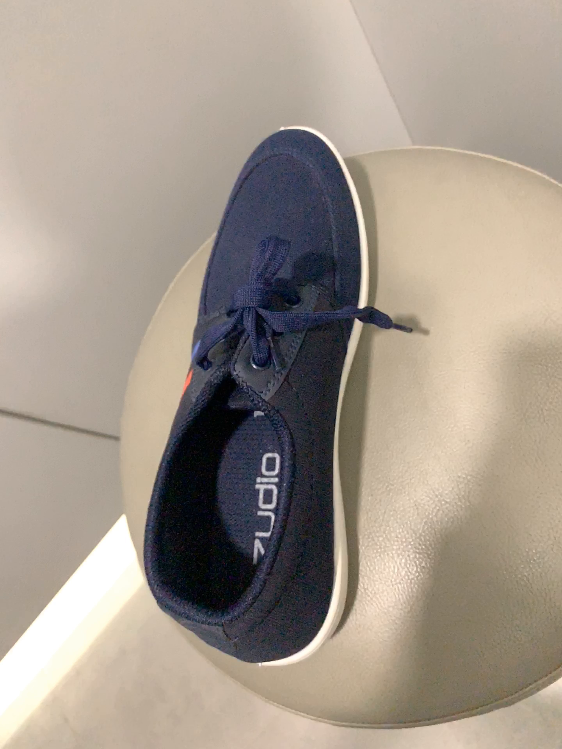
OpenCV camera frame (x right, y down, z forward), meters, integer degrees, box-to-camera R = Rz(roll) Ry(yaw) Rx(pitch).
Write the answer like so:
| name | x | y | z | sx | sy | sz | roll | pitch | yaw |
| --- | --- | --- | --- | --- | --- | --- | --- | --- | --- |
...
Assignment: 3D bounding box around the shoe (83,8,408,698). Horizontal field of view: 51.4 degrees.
| name | x | y | z | sx | sy | sz | roll | pitch | yaw |
| --- | --- | --- | --- | --- | --- | --- | --- | --- | --- |
| shoe | -0.004 | -0.015 | 0.301 | 0.100 | 0.100 | 0.290 | -2 | 75 | 28 |
